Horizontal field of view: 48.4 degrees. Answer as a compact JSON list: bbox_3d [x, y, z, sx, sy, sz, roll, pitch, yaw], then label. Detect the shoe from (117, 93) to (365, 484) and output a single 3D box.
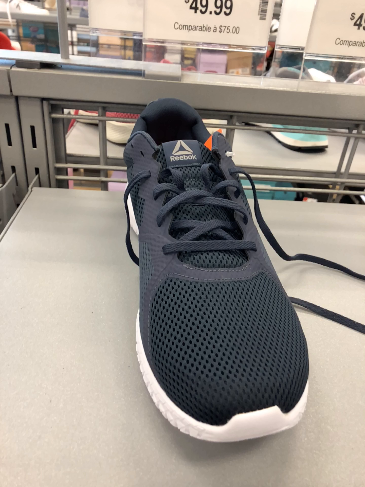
[{"bbox_3d":[0.018,-0.019,0.312,0.120,0.109,0.322,-1,33,-12],"label":"shoe"}]
